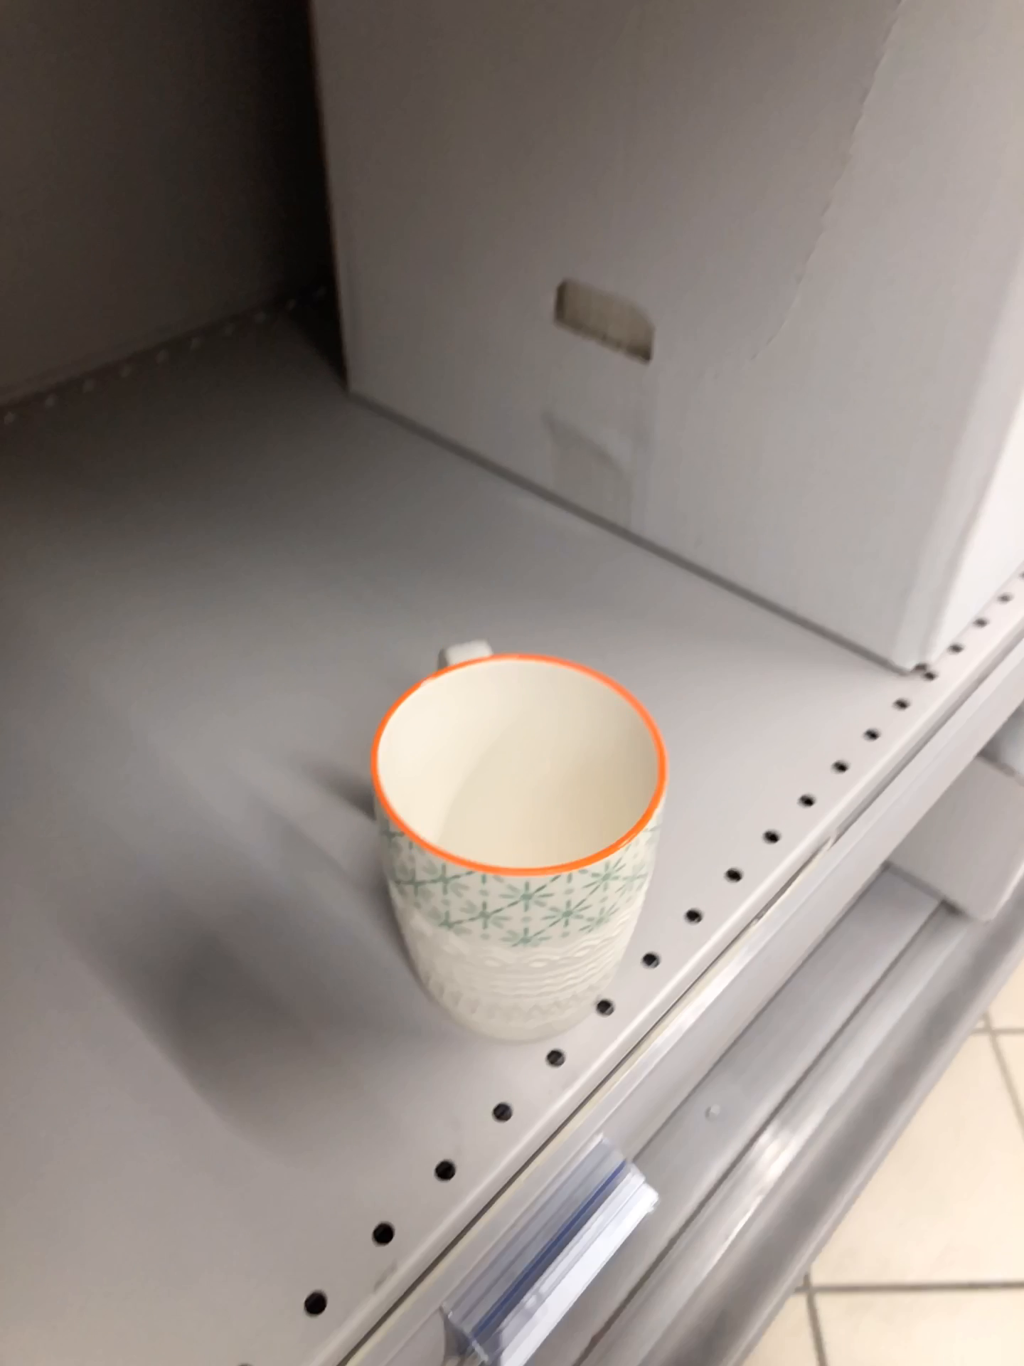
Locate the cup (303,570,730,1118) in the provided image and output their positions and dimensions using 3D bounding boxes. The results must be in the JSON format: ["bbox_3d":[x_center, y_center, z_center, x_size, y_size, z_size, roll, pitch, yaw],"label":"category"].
[{"bbox_3d":[-0.002,0.049,0.365,0.092,0.100,0.118,-15,47,-10],"label":"cup"}]
